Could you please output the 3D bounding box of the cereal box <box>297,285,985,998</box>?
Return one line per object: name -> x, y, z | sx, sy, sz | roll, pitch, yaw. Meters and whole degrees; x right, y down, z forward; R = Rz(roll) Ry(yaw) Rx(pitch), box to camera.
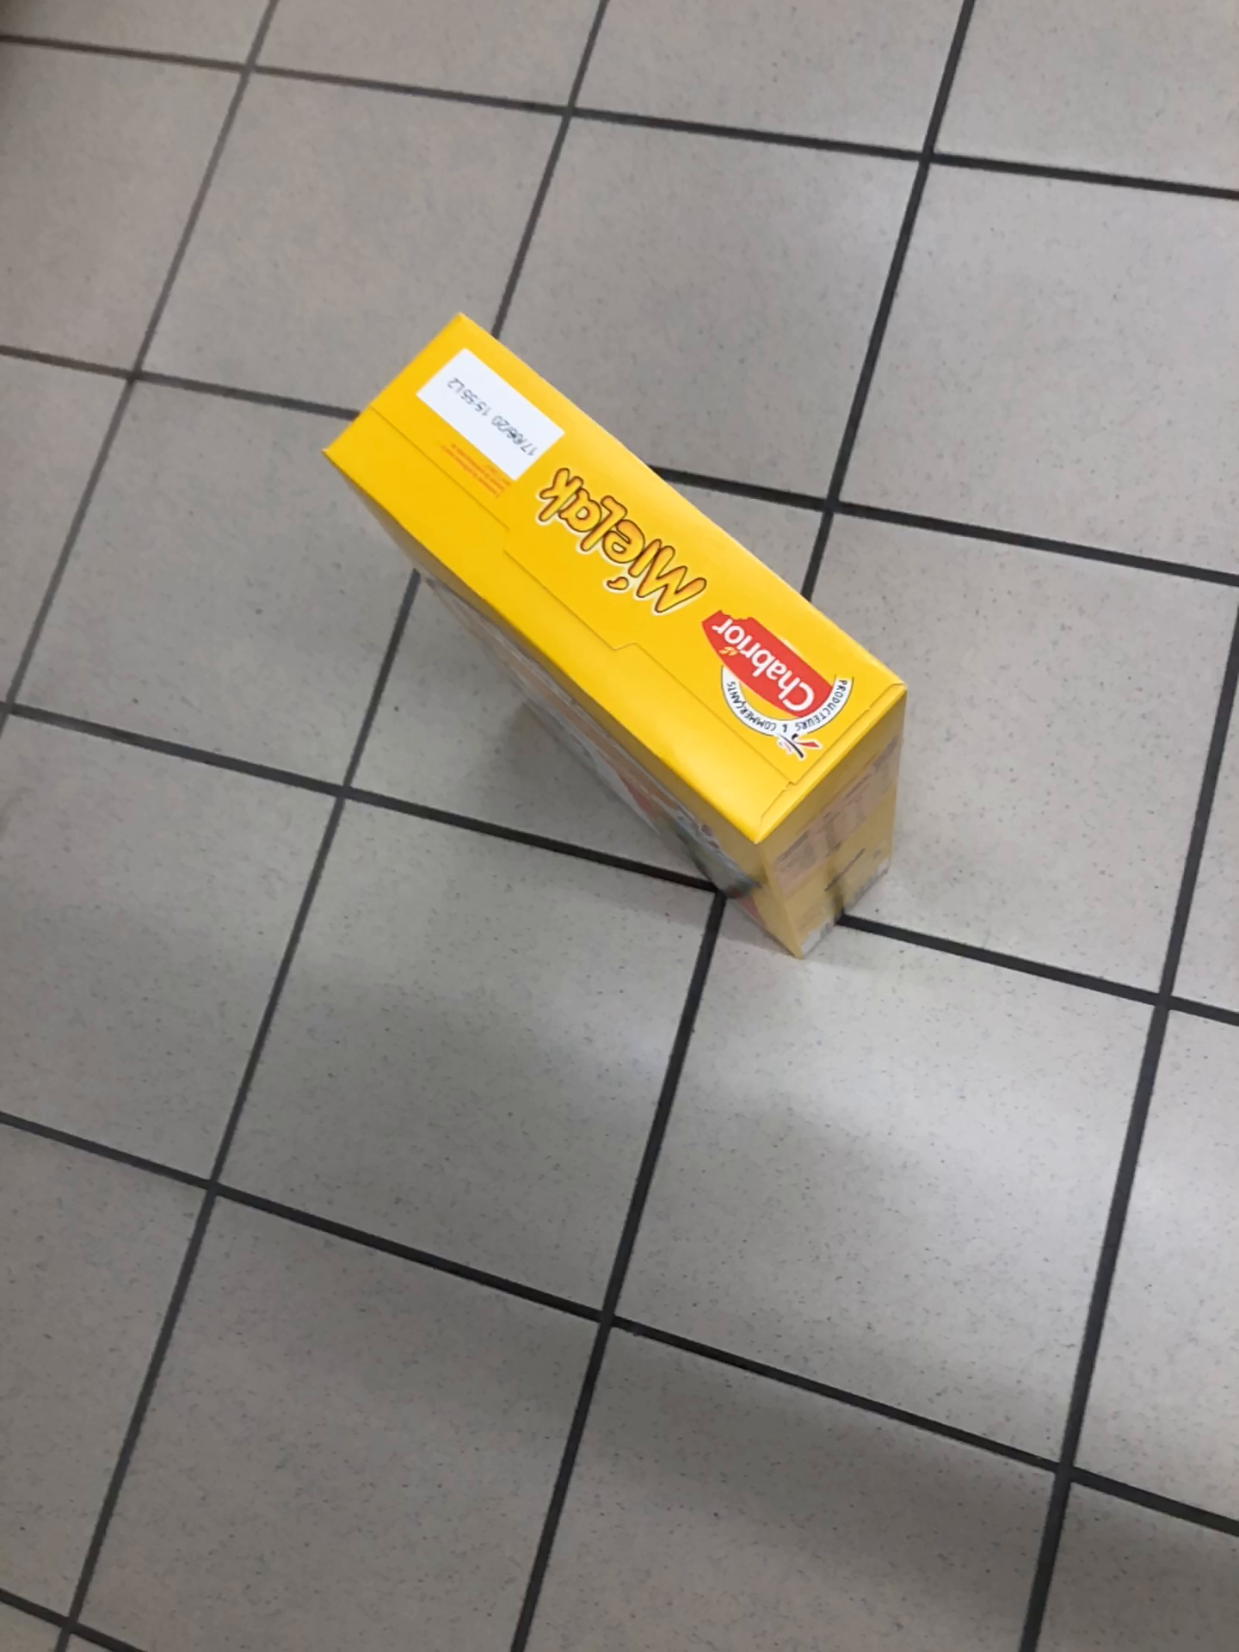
cereal box -> 0.021, -0.046, 0.518 | 0.210, 0.260, 0.070 | 42, 87, 16
